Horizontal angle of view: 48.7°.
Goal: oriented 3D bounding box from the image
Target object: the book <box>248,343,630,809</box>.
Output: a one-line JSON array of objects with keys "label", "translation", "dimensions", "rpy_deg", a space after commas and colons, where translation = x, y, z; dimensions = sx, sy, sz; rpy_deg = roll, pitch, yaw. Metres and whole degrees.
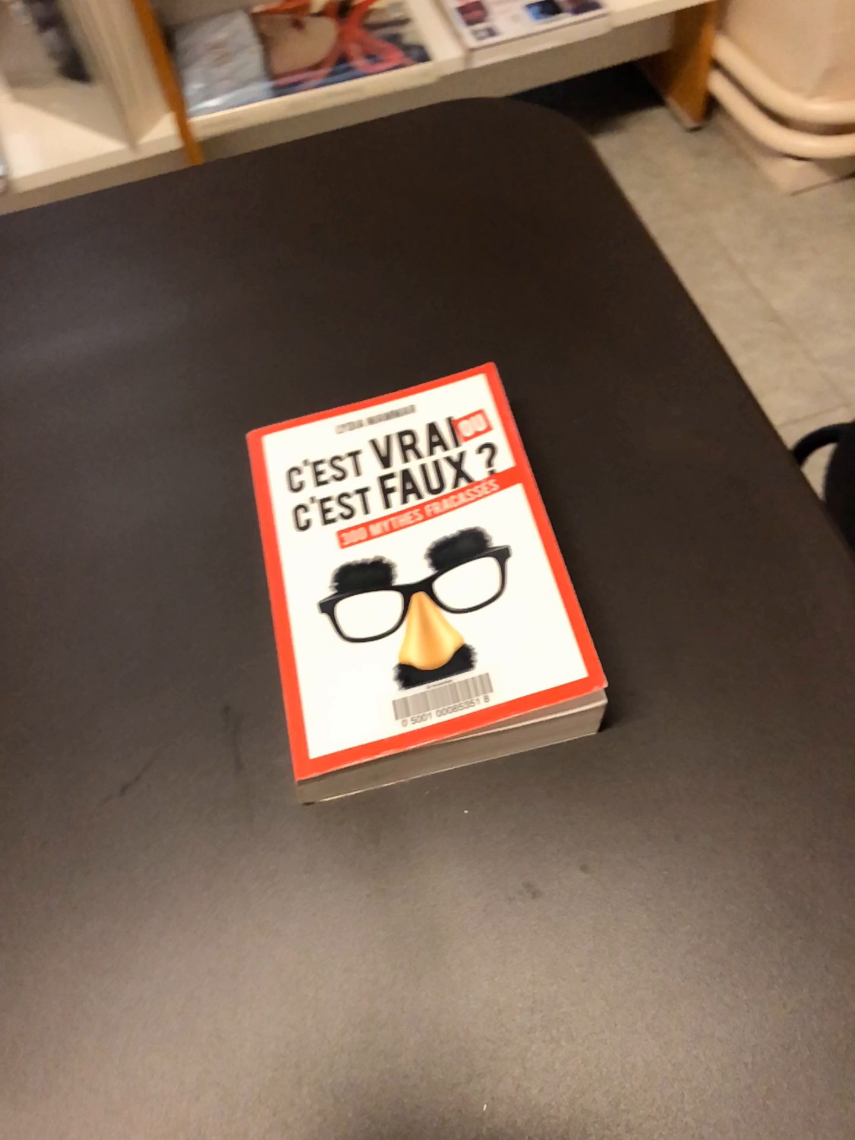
[{"label": "book", "translation": [-0.003, -0.006, 0.409], "dimensions": [0.126, 0.034, 0.185], "rpy_deg": [-15, 57, 2]}]
